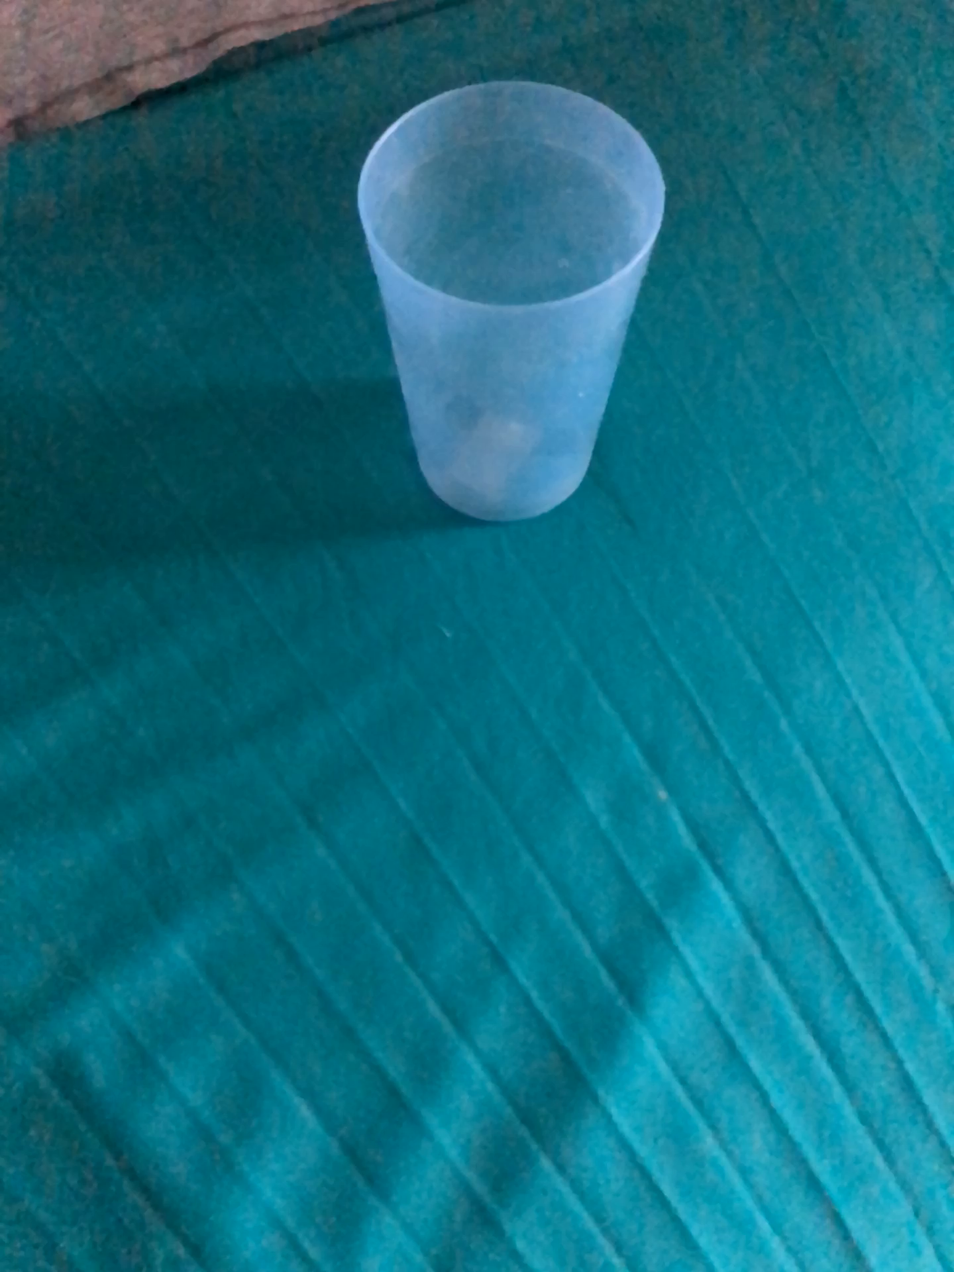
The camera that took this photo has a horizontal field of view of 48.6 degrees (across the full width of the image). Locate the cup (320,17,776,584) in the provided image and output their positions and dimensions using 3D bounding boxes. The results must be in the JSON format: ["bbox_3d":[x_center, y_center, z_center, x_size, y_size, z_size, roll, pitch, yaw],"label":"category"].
[{"bbox_3d":[0.012,-0.079,0.281,0.078,0.119,0.066,-19,71,-9],"label":"cup"}]
